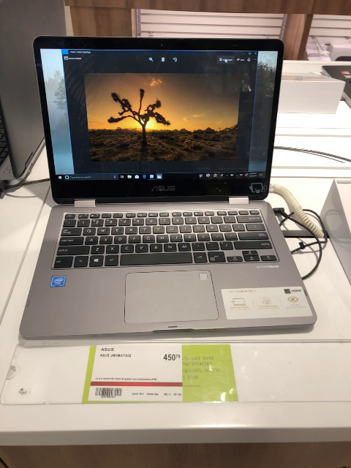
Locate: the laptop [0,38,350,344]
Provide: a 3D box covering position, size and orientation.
[{"bbox_3d":[-0.009,-0.071,0.449,0.319,0.211,0.291,-2,42,-5],"label":"laptop"}]
